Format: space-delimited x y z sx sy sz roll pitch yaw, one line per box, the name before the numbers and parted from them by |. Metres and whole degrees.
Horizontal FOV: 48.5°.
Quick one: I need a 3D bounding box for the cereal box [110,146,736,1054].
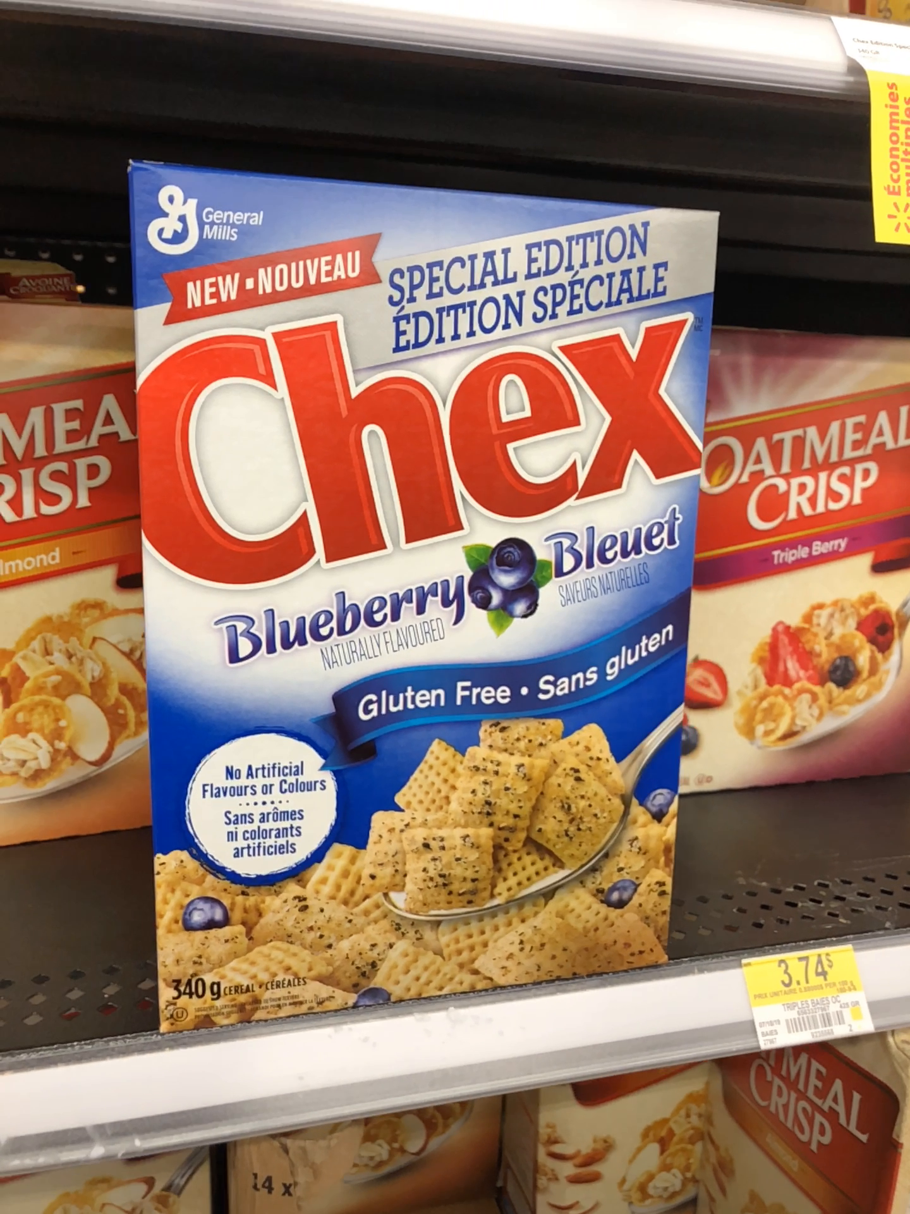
cereal box | -0.014 0.001 0.370 0.200 0.289 0.060 -2 12 -15
